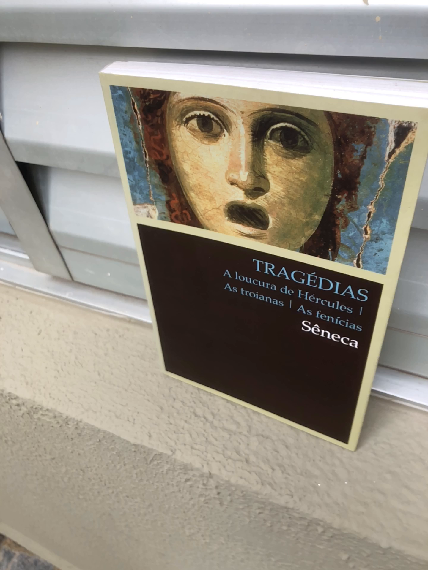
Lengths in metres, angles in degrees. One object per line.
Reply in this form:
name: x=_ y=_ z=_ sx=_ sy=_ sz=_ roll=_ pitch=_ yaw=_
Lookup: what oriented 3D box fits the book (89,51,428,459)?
book: x=0.020 y=-0.007 z=0.248 sx=0.145 sy=0.196 sz=0.026 roll=18 pitch=44 yaw=26
